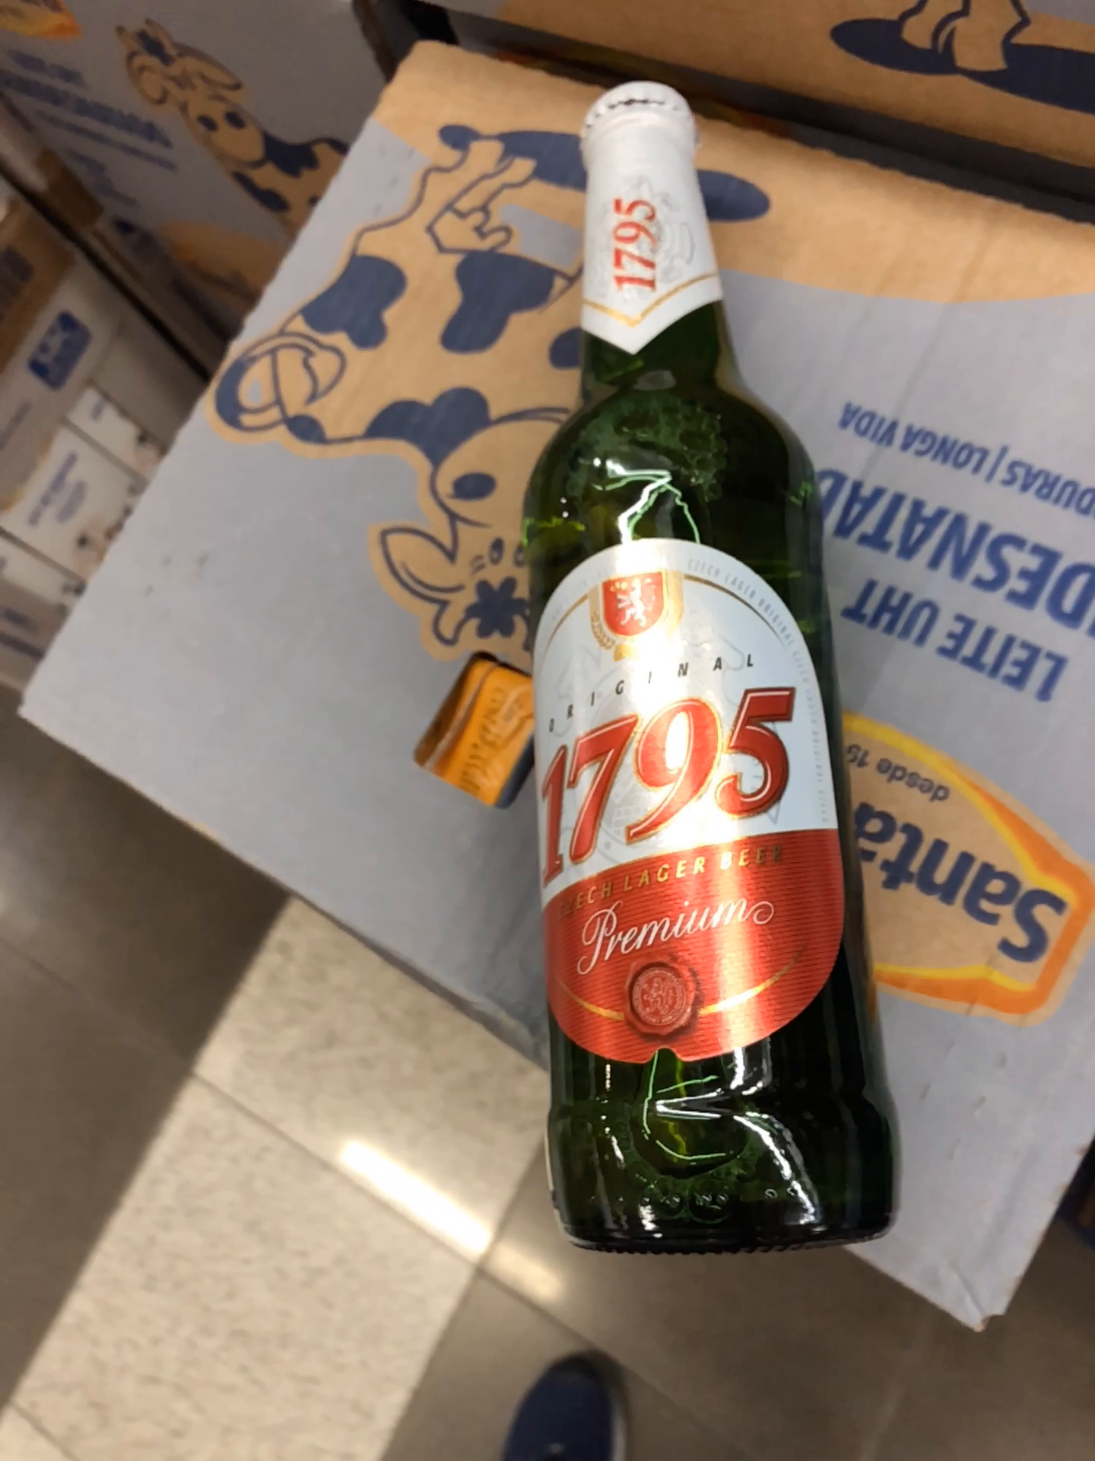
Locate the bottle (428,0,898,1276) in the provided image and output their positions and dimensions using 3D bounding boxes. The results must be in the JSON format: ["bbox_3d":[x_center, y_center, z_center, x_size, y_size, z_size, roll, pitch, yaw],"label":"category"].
[{"bbox_3d":[0.019,-0.037,0.257,0.070,0.060,0.271,-7,70,15],"label":"bottle"}]
